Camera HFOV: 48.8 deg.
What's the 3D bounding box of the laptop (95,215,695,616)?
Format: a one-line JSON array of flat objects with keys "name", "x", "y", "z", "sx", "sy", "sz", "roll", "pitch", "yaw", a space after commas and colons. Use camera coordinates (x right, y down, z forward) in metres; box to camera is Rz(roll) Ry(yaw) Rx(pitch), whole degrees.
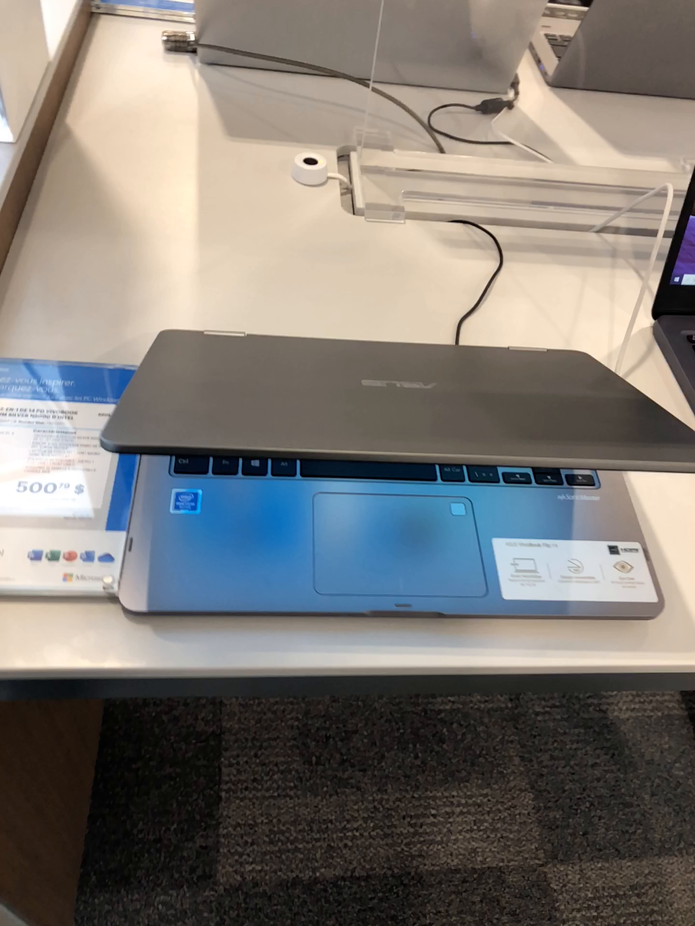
[{"name": "laptop", "x": 0.037, "y": -0.031, "z": 0.463, "sx": 0.321, "sy": 0.105, "sz": 0.215, "roll": 2, "pitch": 51, "yaw": -6}]
